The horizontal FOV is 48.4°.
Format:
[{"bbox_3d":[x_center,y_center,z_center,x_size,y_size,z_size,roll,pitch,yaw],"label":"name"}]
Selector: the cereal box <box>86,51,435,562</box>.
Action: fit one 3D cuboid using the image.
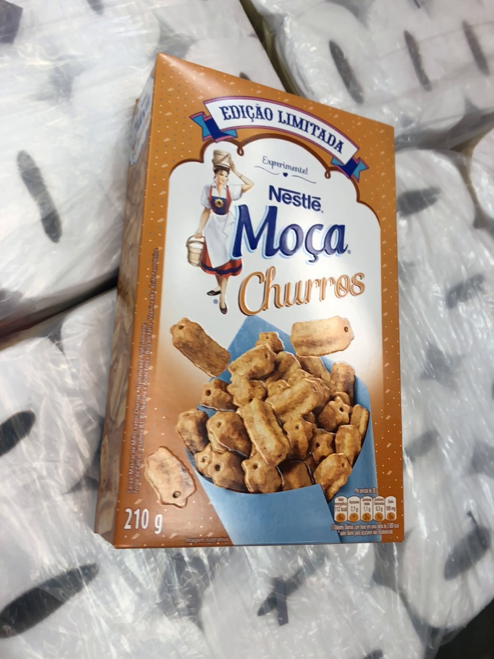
[{"bbox_3d":[0.015,-0.008,0.304,0.170,0.050,0.240,8,76,-23],"label":"cereal box"}]
